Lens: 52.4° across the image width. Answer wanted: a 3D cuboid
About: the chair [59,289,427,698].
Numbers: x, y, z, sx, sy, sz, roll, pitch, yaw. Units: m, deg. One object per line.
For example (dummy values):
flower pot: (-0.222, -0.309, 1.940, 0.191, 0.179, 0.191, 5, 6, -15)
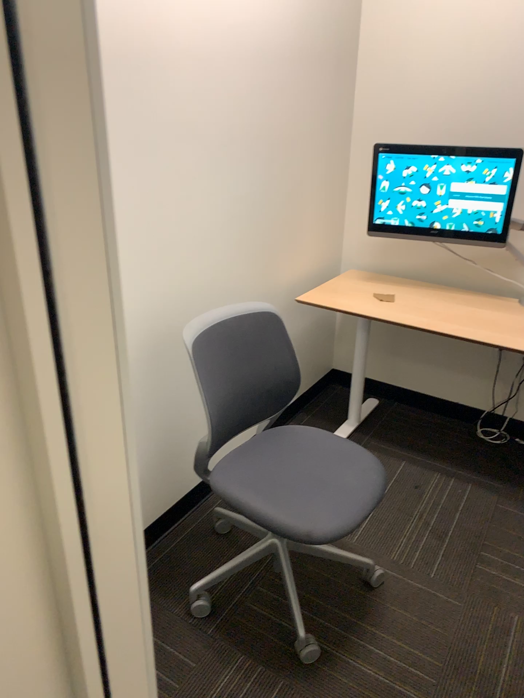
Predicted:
chair: (-0.076, 0.395, 1.838, 0.903, 0.885, 0.721, 21, 31, 37)
